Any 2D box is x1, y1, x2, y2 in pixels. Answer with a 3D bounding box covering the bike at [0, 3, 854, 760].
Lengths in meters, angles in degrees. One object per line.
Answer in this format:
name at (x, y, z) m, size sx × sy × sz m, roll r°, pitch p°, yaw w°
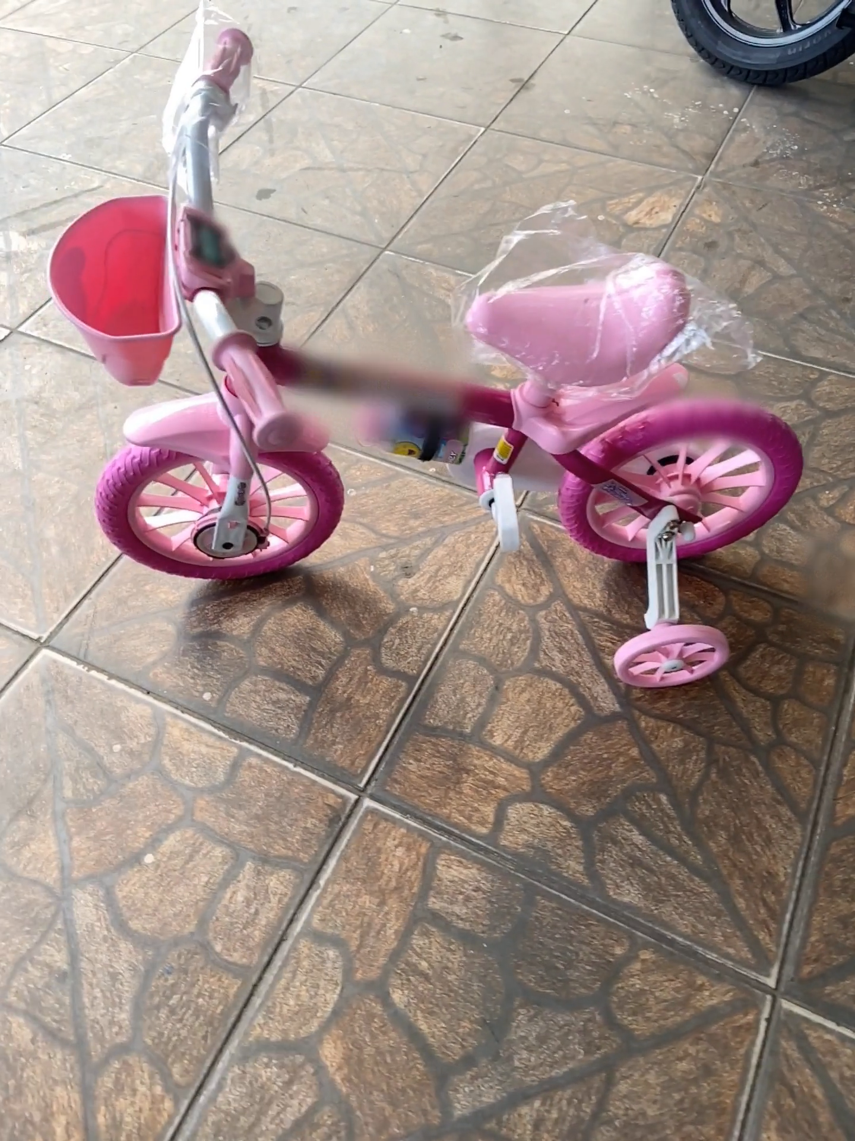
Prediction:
bike at (0.006, -0.166, 0.935) m, size 0.792 × 0.563 × 0.513 m, roll -3°, pitch 55°, yaw 0°
